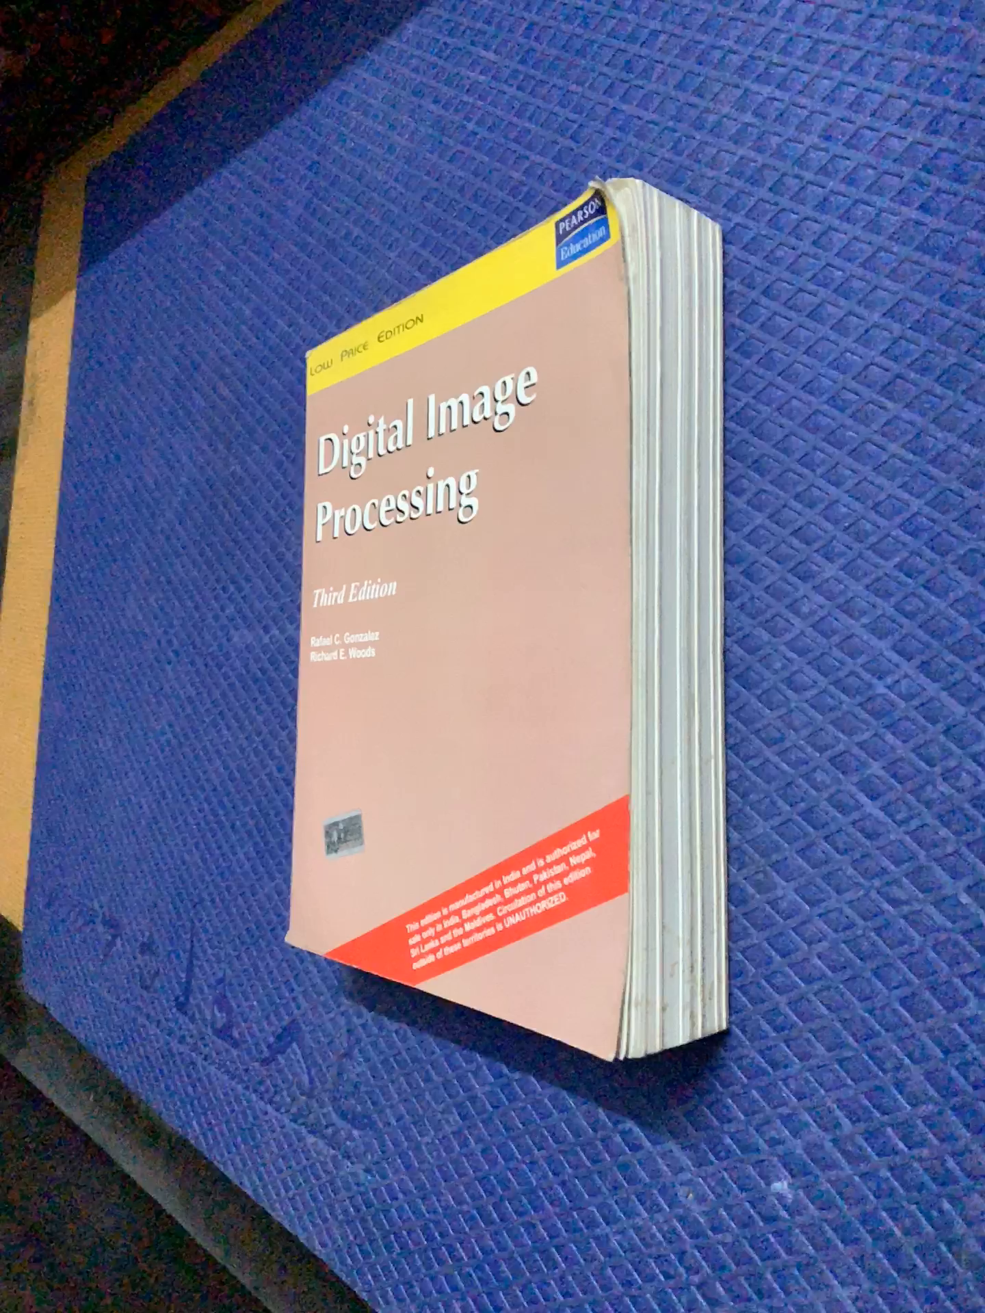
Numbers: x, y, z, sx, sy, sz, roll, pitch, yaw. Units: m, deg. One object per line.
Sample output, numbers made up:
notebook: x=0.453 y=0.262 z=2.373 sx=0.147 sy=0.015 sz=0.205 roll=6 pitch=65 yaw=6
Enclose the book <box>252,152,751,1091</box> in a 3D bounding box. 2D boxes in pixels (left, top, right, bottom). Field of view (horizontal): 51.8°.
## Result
book: x=-0.007 y=-0.008 z=0.322 sx=0.175 sy=0.045 sz=0.225 roll=-3 pitch=83 yaw=48
